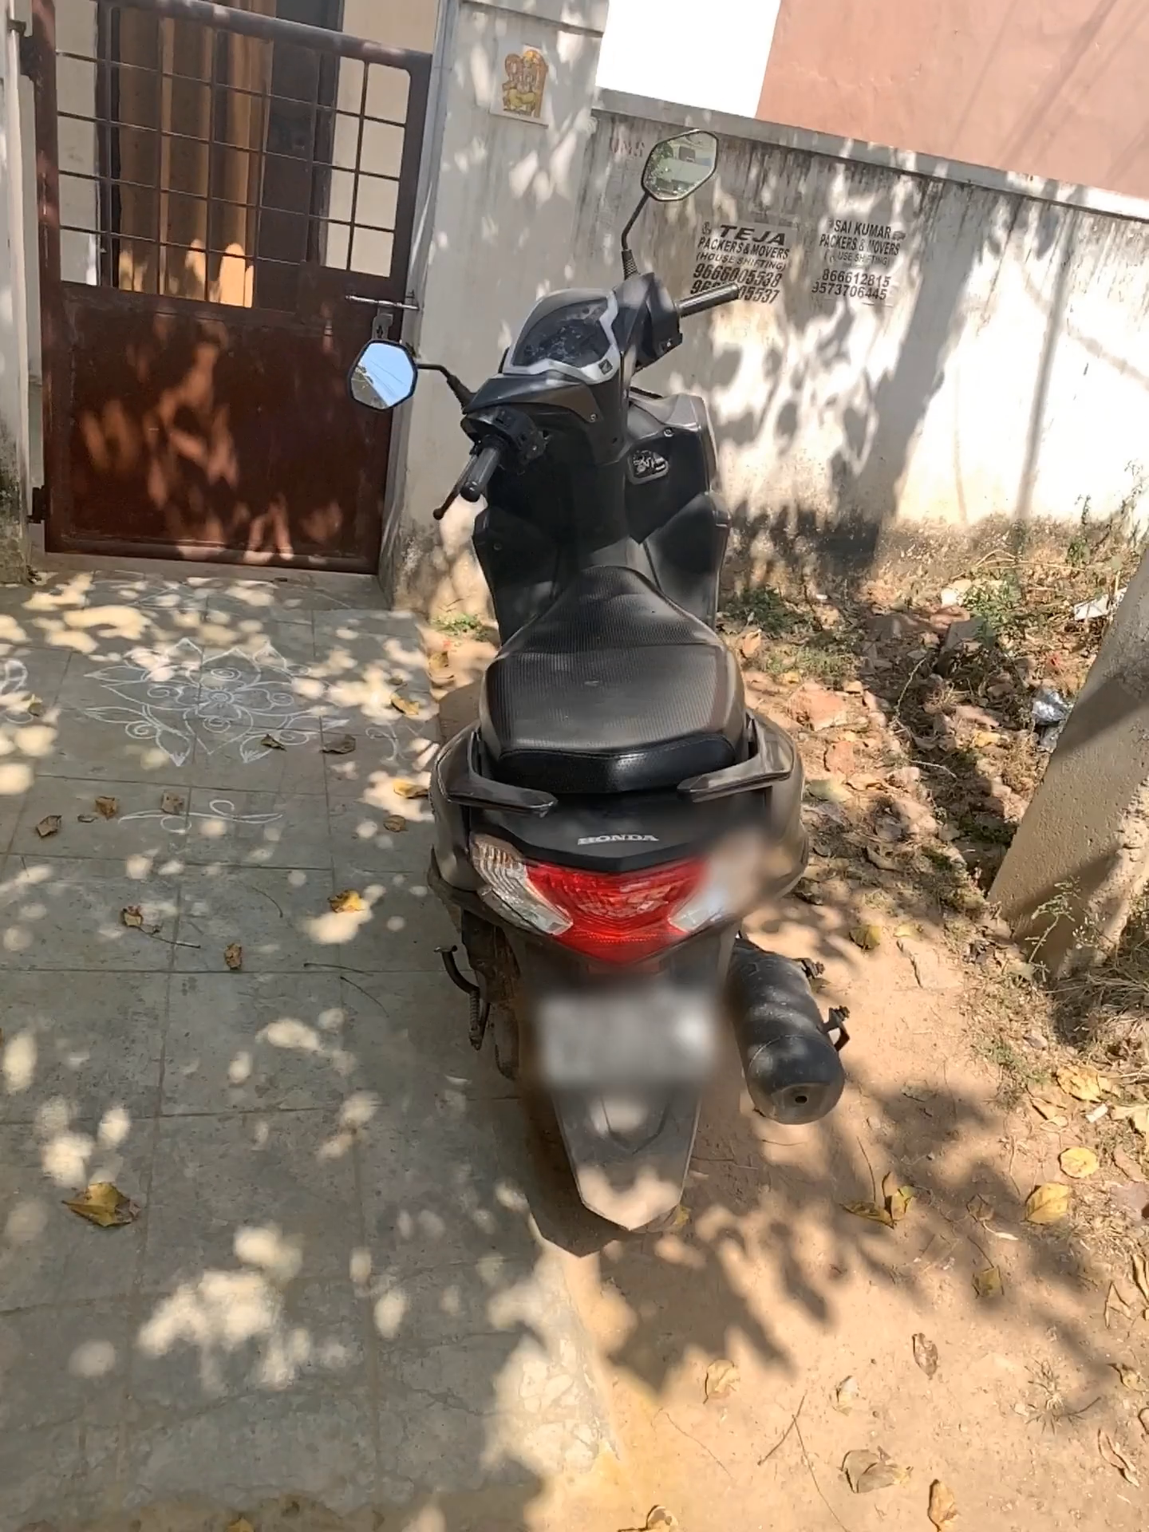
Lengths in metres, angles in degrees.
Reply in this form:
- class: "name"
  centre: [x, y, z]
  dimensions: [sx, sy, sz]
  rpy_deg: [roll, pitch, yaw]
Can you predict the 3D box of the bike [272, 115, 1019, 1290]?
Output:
- class: "bike"
  centre: [-0.115, -0.270, 1.930]
  dimensions: [0.606, 1.176, 1.515]
  rpy_deg: [5, 30, -13]
